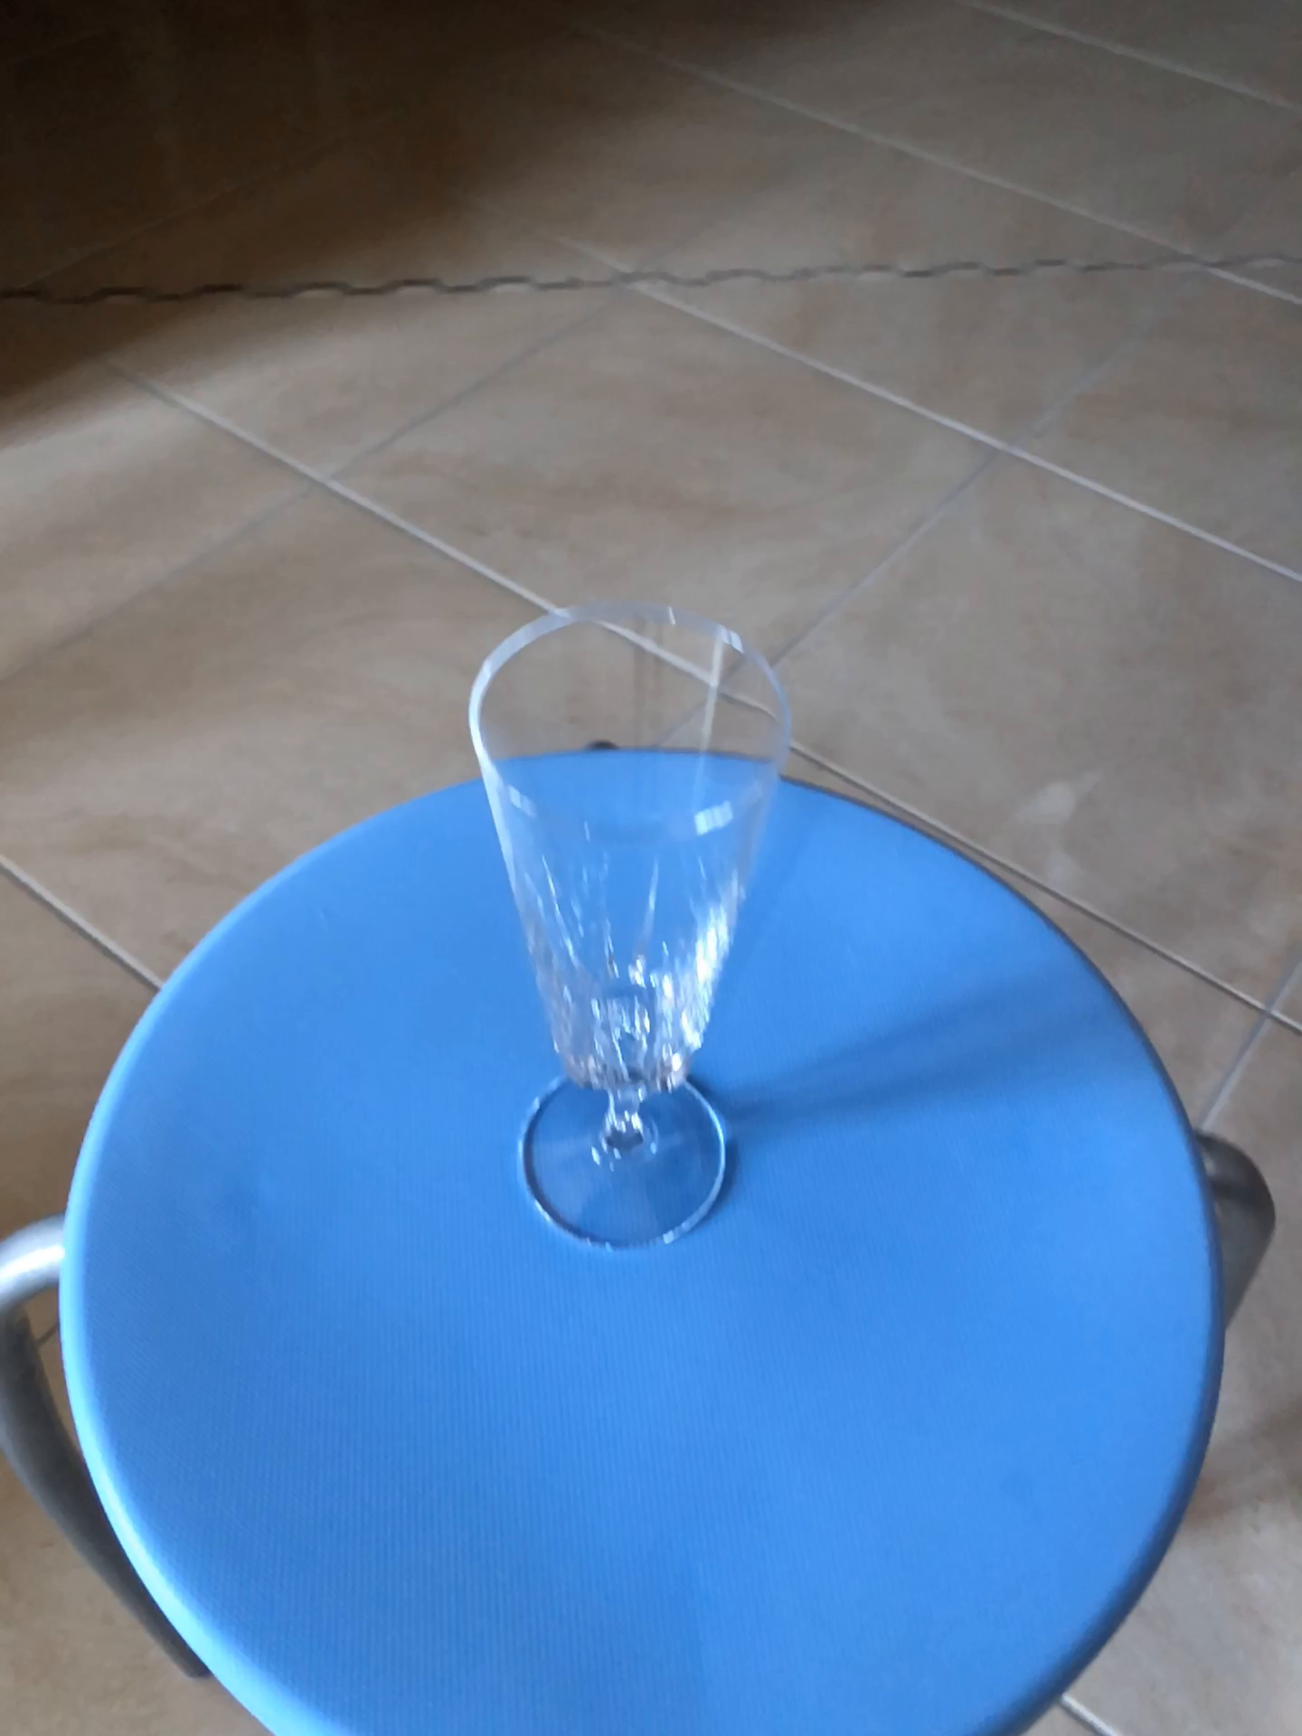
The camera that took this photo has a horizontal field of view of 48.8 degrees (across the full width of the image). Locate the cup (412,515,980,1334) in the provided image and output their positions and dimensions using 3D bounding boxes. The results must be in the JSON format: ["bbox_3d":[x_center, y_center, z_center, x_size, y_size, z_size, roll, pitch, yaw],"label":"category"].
[{"bbox_3d":[0.006,0.023,0.338,0.080,0.179,0.070,-34,60,-27],"label":"cup"}]
